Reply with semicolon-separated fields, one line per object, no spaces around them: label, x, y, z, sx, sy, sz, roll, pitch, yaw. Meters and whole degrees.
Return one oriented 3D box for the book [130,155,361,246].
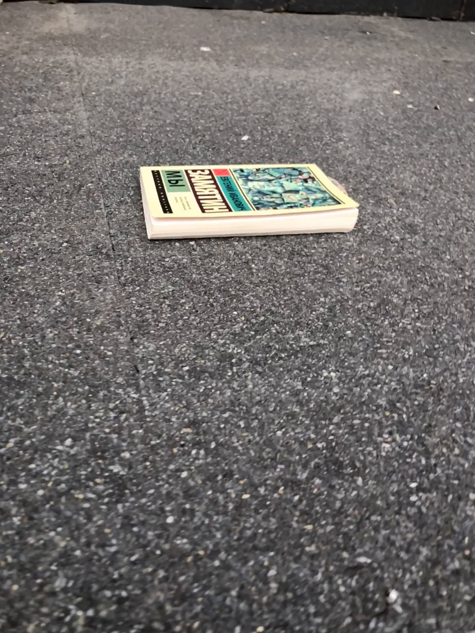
book;0.001;-0.110;0.473;0.182;0.027;0.121;-5;38;-13
